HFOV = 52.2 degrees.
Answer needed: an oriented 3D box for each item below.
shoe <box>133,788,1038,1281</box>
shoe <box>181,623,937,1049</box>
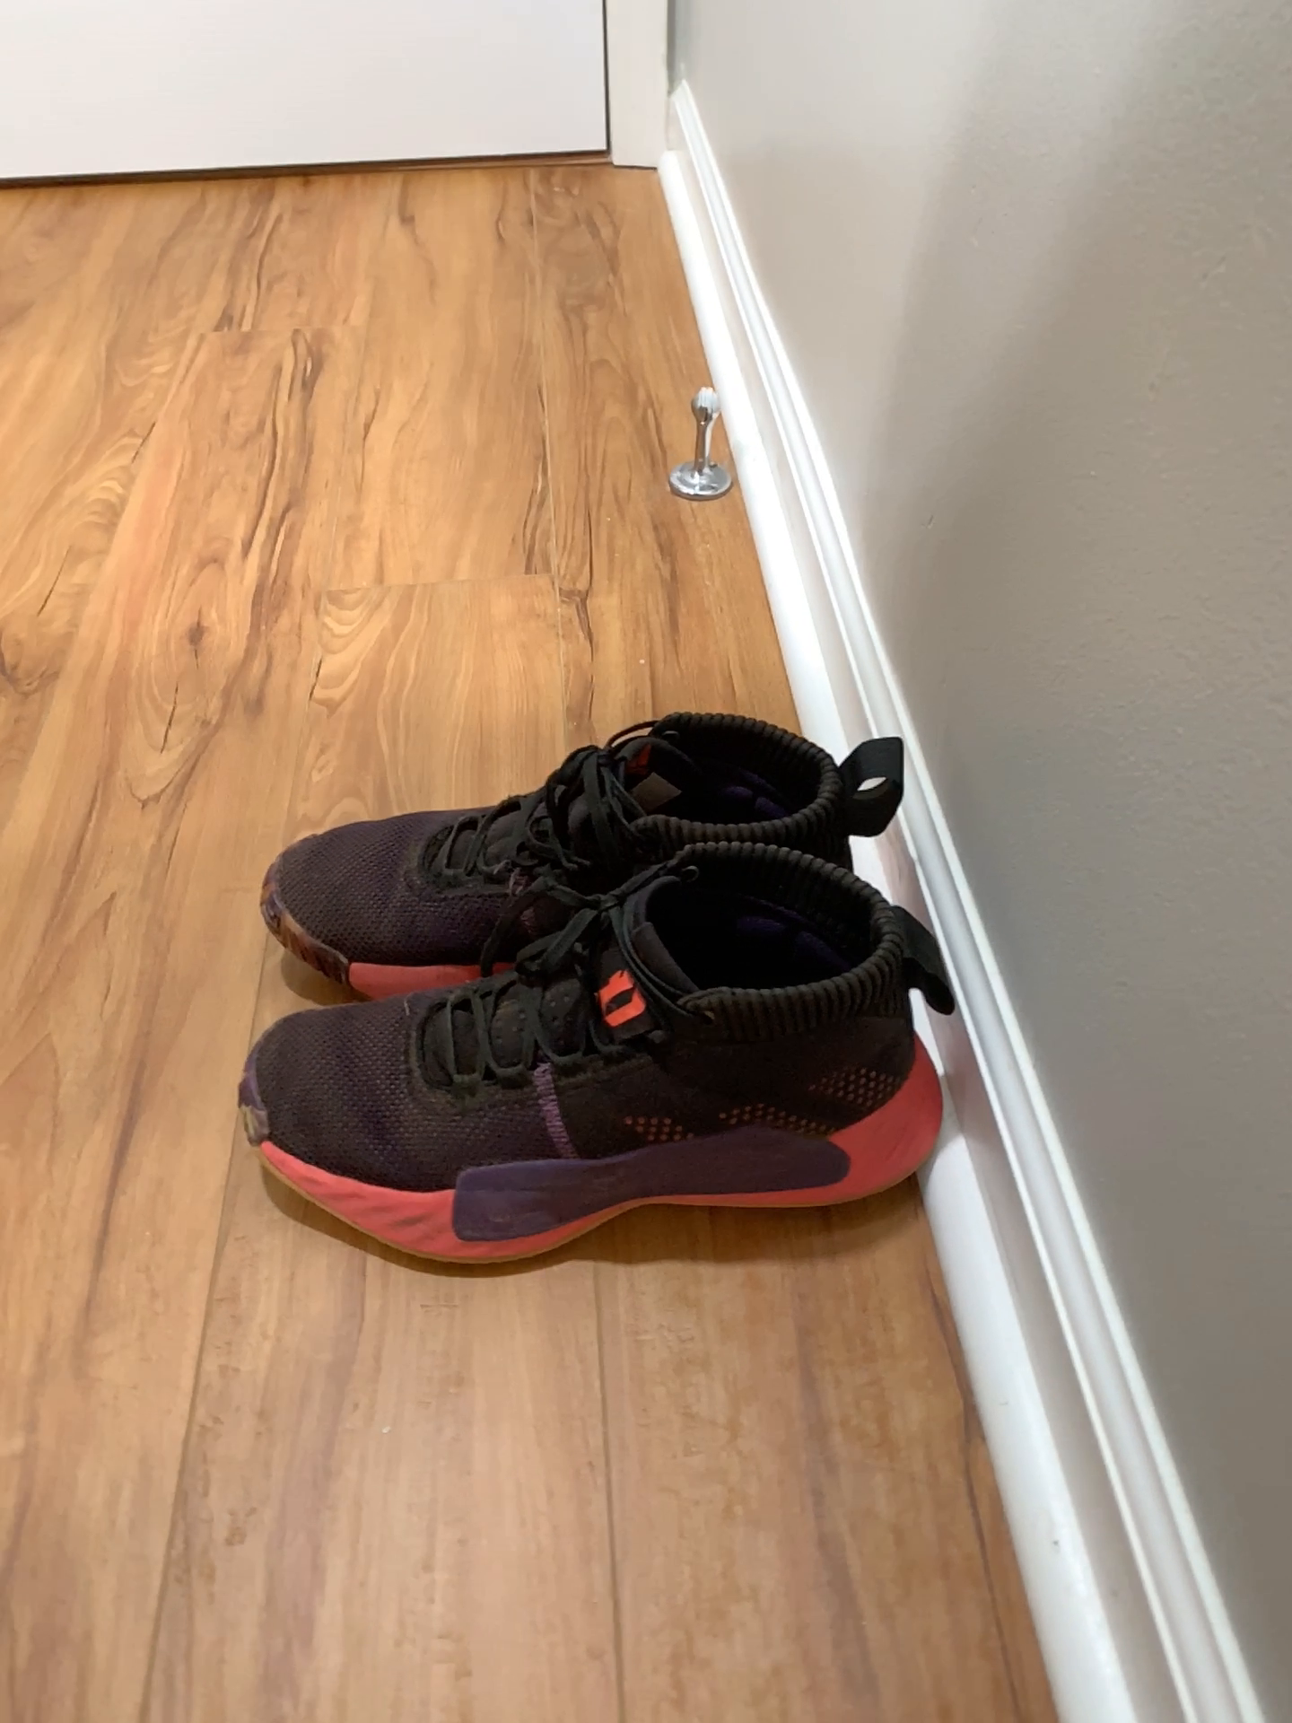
[{"bbox_3d":[-0.020,0.066,0.505,0.285,0.131,0.120,-2,44,-1],"label":"shoe"},{"bbox_3d":[-0.030,-0.012,0.584,0.285,0.131,0.120,2,45,3],"label":"shoe"}]
